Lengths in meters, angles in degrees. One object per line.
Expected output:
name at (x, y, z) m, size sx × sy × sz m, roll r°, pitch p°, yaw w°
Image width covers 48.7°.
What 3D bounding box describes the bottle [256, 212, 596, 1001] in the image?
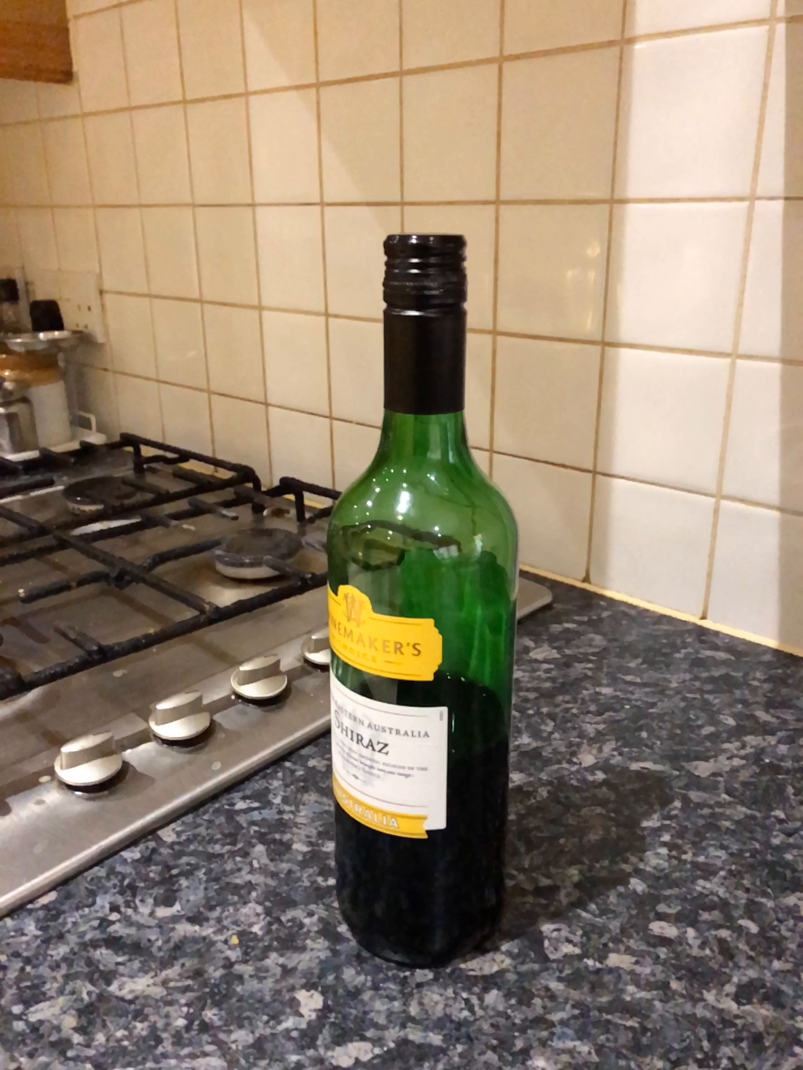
bottle at (0.009, 0.024, 0.341) m, size 0.080 × 0.278 × 0.080 m, roll 0°, pitch 19°, yaw 0°
